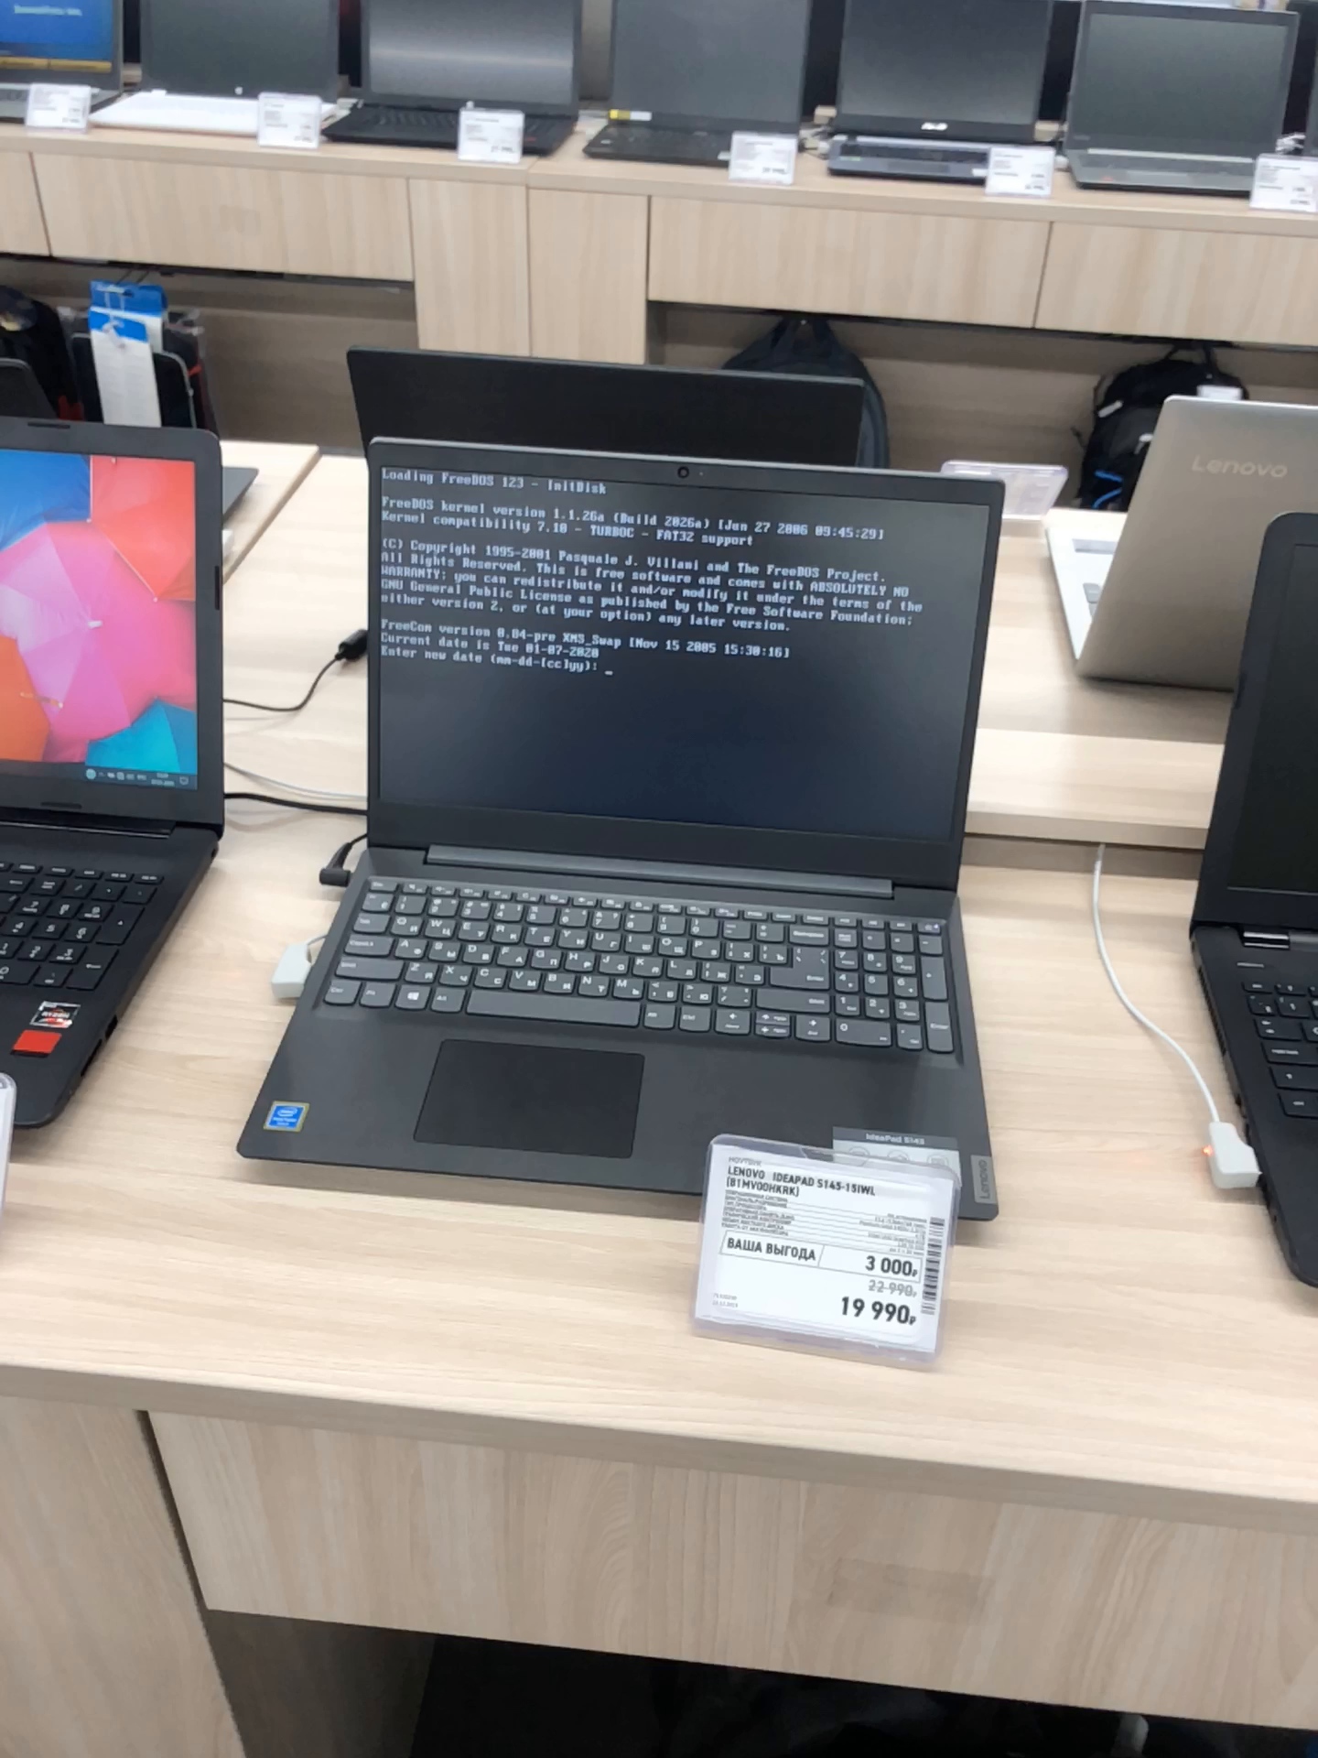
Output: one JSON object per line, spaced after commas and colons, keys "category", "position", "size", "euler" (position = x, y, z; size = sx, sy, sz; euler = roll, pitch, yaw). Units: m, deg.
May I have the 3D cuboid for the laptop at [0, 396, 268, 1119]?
{"category": "laptop", "position": [-0.441, -0.082, 0.745], "size": [0.351, 0.202, 0.322], "euler": [5, 37, 4]}

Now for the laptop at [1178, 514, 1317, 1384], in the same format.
{"category": "laptop", "position": [0.466, 0.011, 0.654], "size": [0.337, 0.208, 0.298], "euler": [5, 37, 3]}

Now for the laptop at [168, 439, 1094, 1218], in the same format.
{"category": "laptop", "position": [-0.002, -0.046, 0.718], "size": [0.340, 0.210, 0.323], "euler": [4, 37, 4]}
